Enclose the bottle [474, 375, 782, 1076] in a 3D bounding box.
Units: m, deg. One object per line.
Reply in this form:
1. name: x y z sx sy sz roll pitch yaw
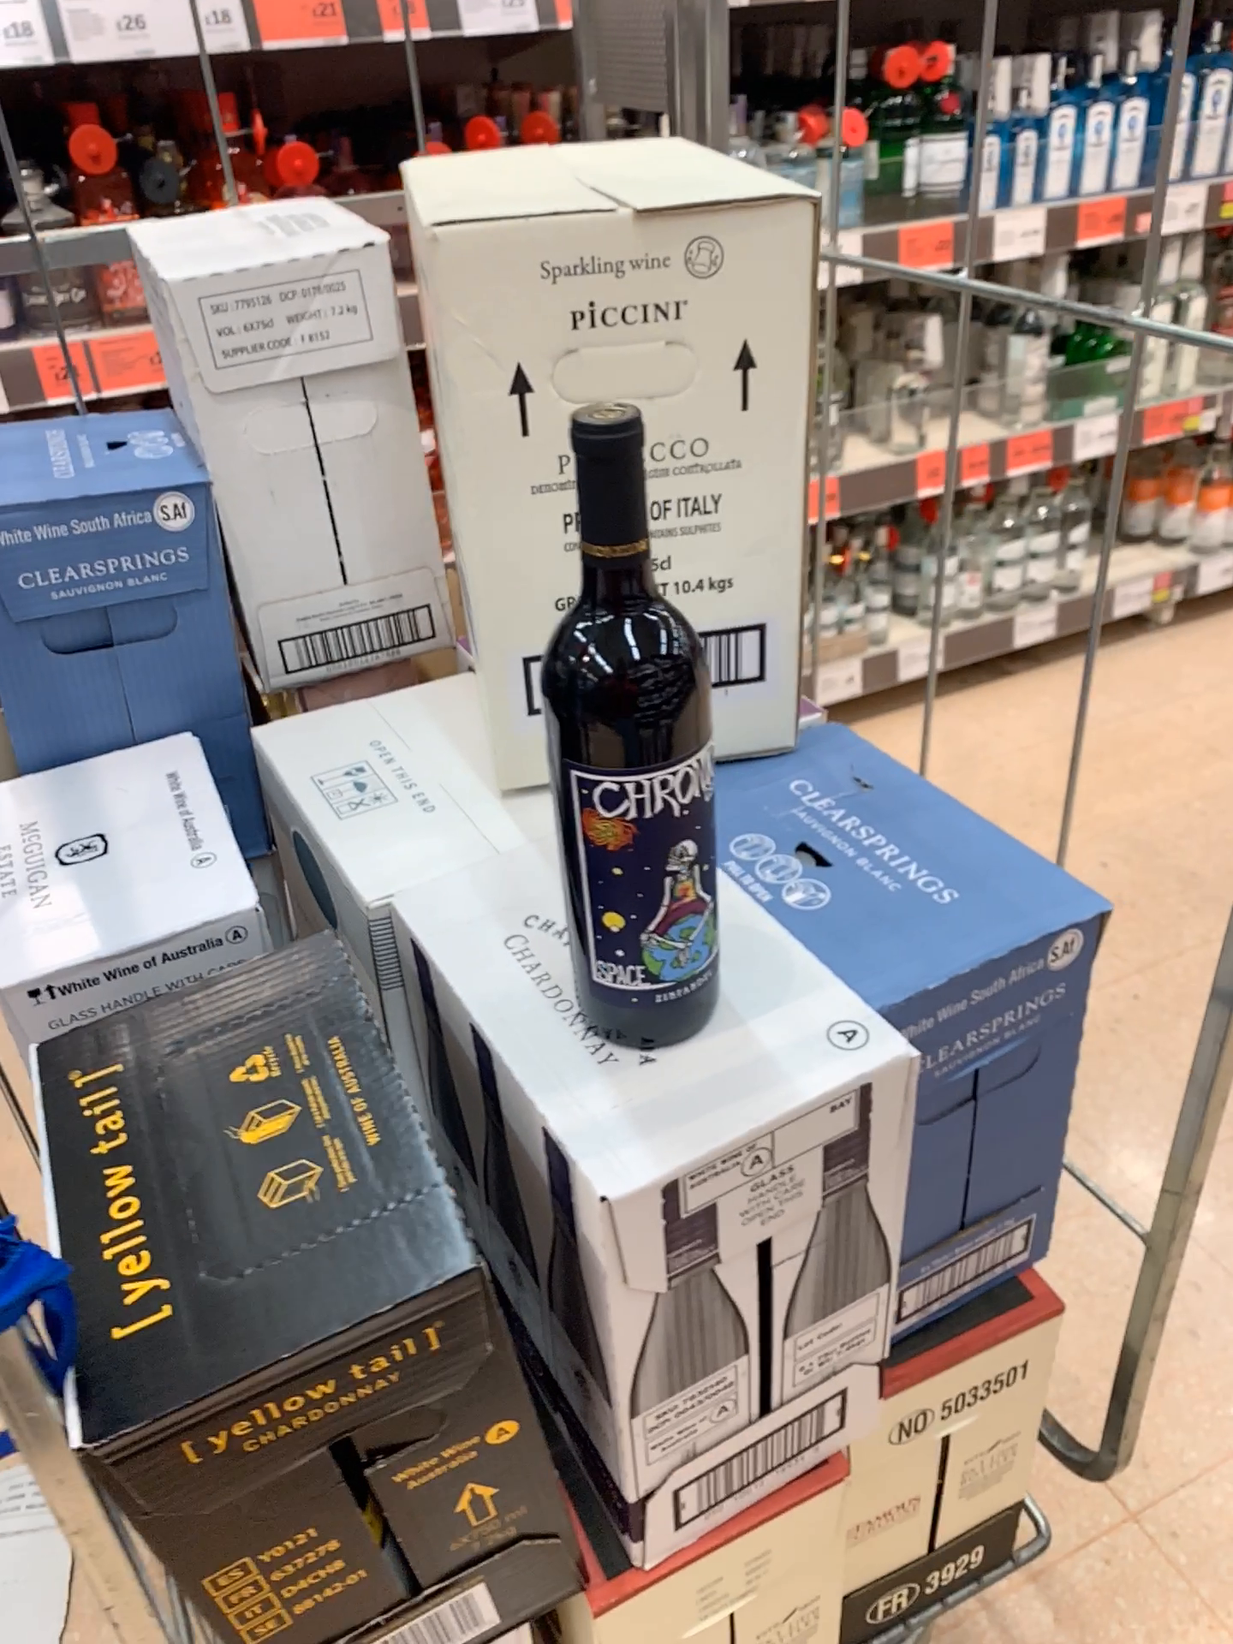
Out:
1. bottle: 0.011 -0.036 0.561 0.085 0.284 0.085 -3 32 2
